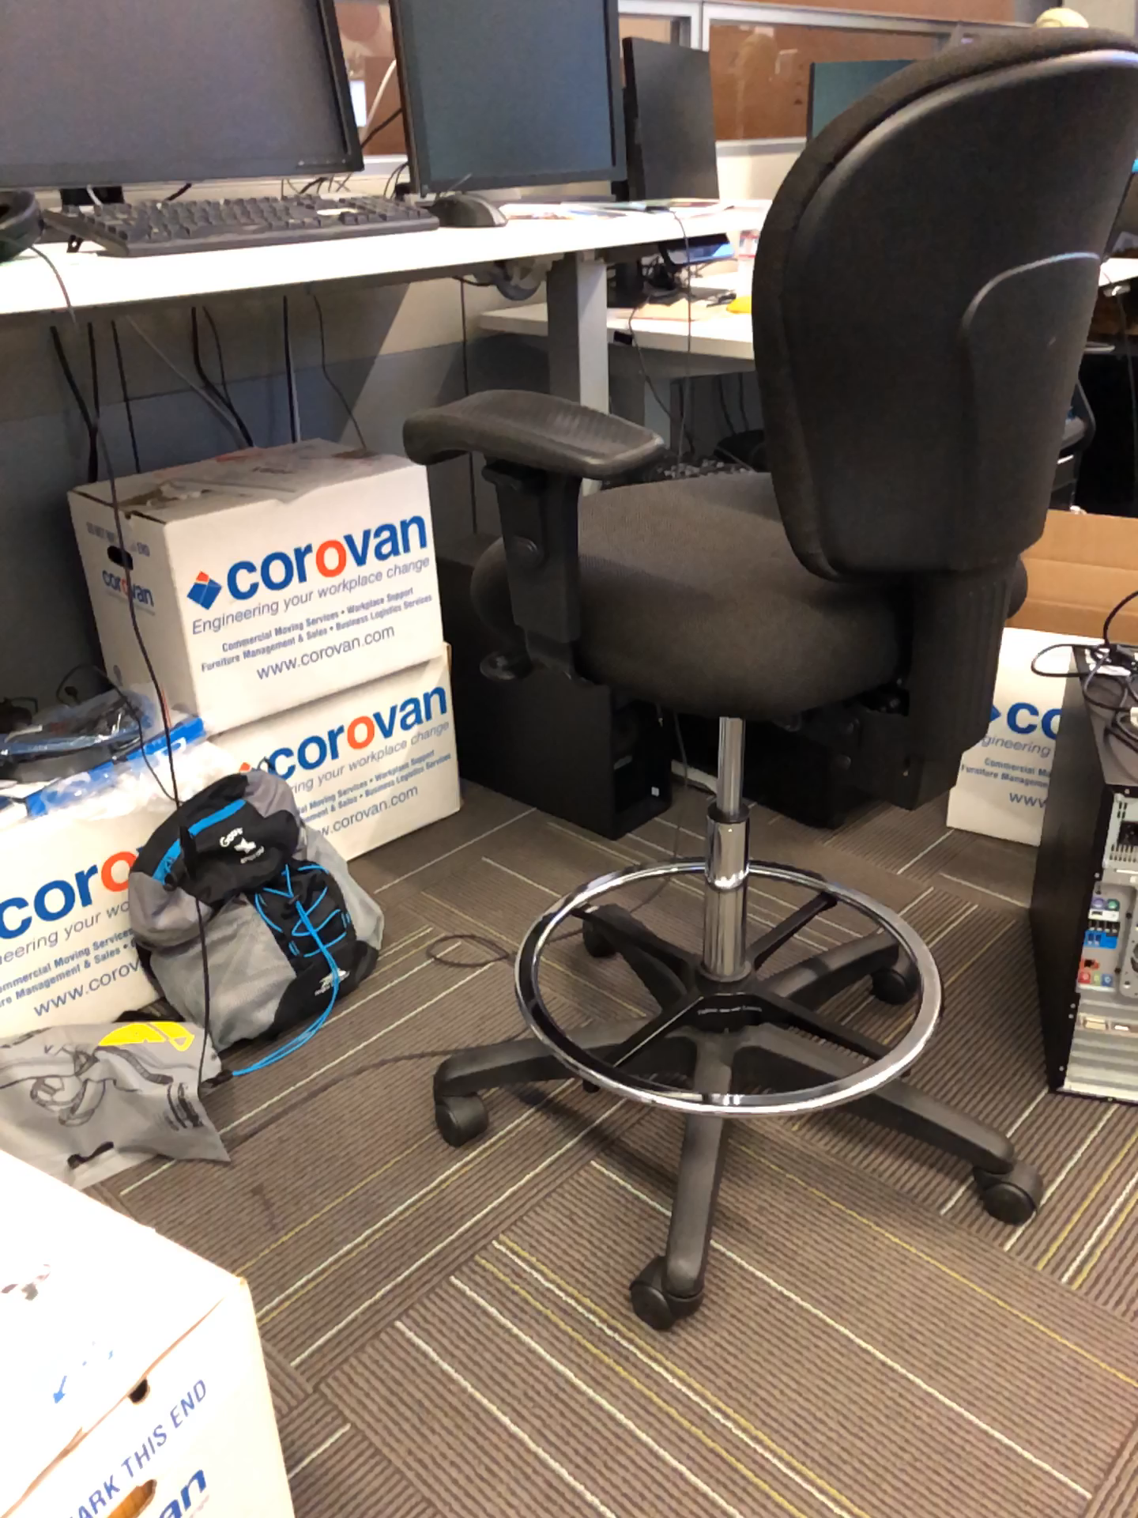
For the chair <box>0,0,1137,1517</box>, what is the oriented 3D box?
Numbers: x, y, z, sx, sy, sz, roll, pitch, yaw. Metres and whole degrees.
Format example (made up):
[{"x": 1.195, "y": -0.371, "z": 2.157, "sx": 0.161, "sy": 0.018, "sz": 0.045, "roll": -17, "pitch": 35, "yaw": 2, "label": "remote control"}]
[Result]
[{"x": 0.079, "y": -0.091, "z": 1.251, "sx": 0.962, "sy": 1.104, "sz": 0.893, "roll": 20, "pitch": 33, "yaw": 37, "label": "chair"}]
